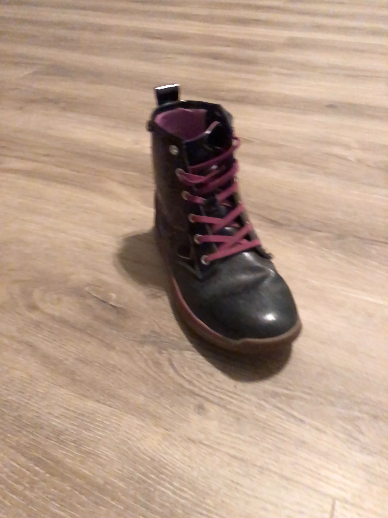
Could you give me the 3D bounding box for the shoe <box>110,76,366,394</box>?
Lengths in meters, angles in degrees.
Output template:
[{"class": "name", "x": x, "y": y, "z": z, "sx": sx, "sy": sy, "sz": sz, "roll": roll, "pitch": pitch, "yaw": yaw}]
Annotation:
[{"class": "shoe", "x": 0.013, "y": -0.039, "z": 0.367, "sx": 0.100, "sy": 0.149, "sz": 0.231, "roll": -14, "pitch": 41, "yaw": -15}]
